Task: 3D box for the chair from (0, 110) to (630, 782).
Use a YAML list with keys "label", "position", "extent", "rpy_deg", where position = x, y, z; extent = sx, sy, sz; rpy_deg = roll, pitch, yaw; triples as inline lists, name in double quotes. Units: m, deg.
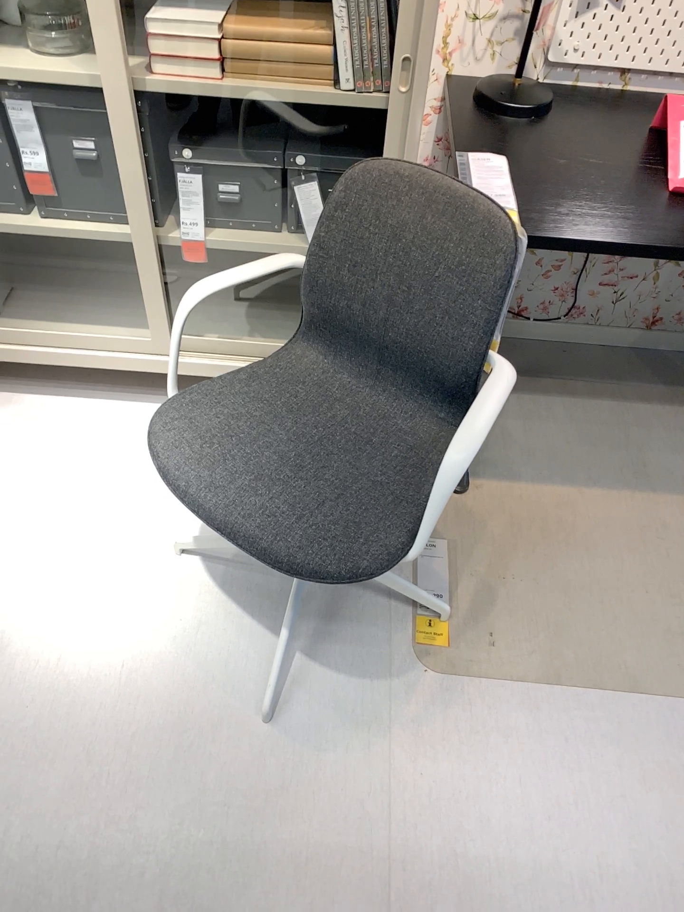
- label: "chair"
  position: [-0.045, -0.005, 1.265]
  extent: [0.621, 0.837, 0.641]
  rpy_deg: [31, 54, 21]
